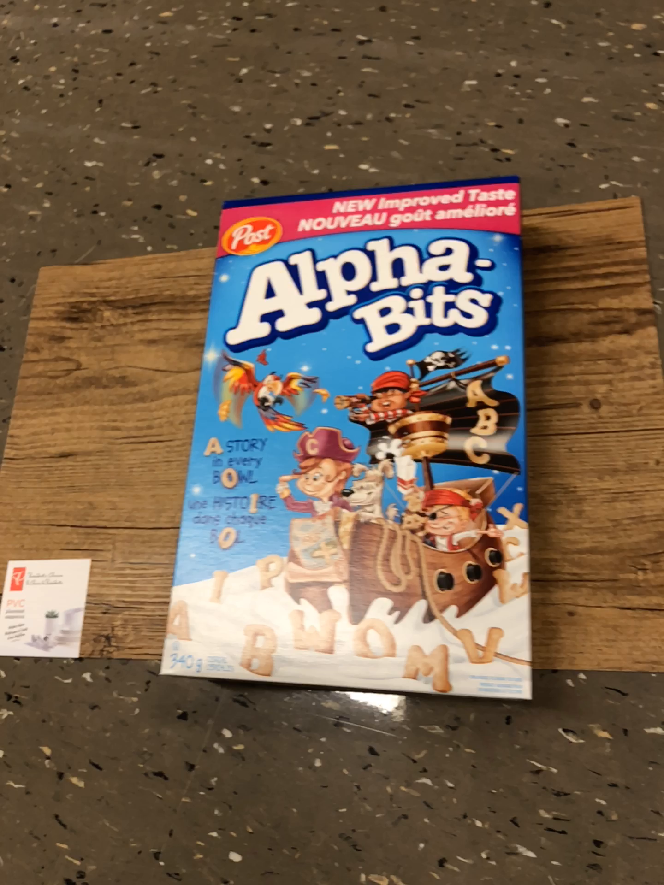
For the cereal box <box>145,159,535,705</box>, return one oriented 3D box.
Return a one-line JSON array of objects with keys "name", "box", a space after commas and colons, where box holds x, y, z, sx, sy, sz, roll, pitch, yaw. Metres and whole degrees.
[{"name": "cereal box", "box": [0.016, -0.014, 0.447, 0.200, 0.060, 0.310, -1, 70, 15]}]
